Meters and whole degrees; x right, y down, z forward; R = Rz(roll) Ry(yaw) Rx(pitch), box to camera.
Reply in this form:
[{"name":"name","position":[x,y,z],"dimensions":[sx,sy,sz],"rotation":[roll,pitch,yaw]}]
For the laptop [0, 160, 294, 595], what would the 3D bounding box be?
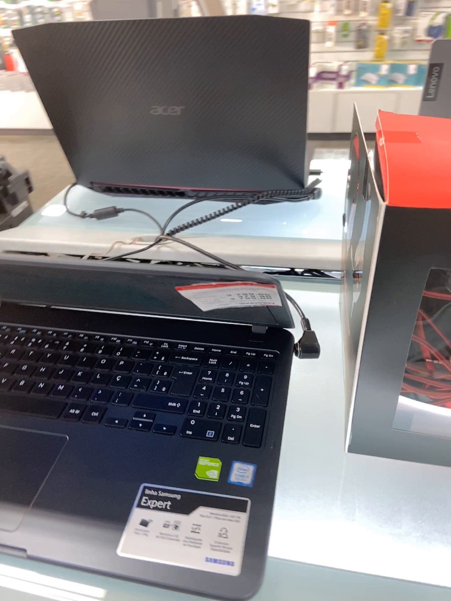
[{"name":"laptop","position":[-0.147,0.020,0.358],"dimensions":[0.371,0.170,0.238],"rotation":[4,37,12]}]
